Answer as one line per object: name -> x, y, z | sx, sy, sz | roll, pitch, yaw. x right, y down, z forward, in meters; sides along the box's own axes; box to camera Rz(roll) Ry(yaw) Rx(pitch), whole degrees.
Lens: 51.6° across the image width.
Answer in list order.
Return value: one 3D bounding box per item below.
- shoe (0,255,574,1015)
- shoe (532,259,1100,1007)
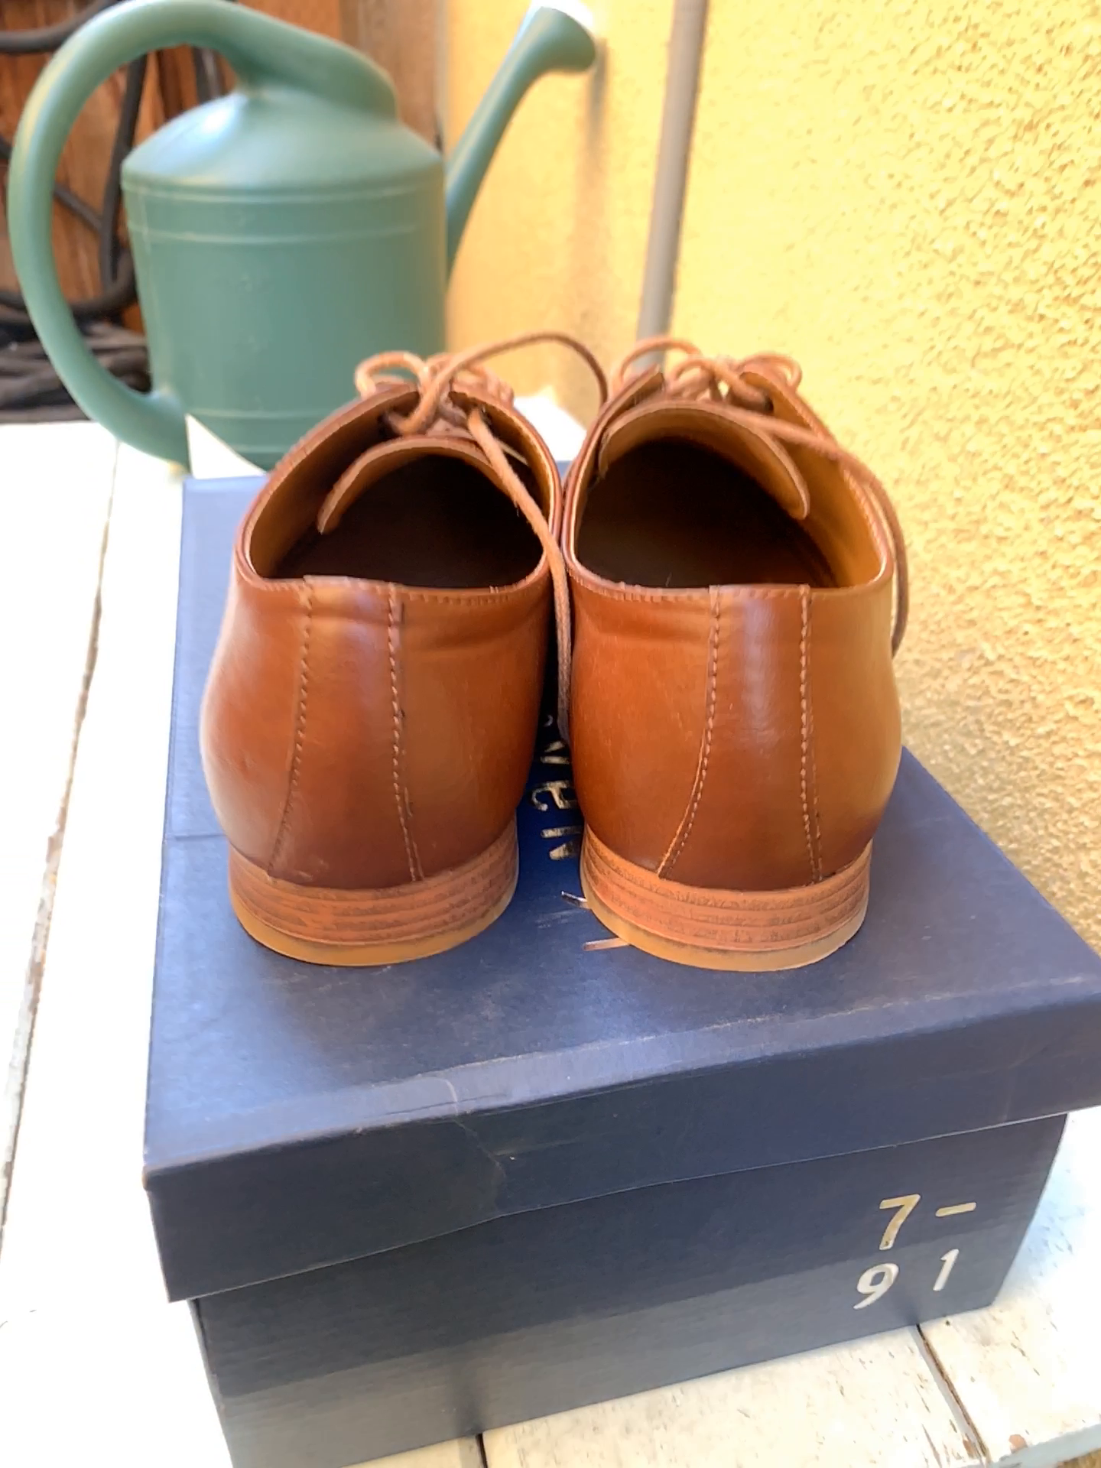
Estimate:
shoe -> -0.047, -0.064, 0.349 | 0.104, 0.099, 0.303 | 2, 32, 0
shoe -> 0.055, -0.065, 0.355 | 0.110, 0.099, 0.303 | 2, 32, 0
